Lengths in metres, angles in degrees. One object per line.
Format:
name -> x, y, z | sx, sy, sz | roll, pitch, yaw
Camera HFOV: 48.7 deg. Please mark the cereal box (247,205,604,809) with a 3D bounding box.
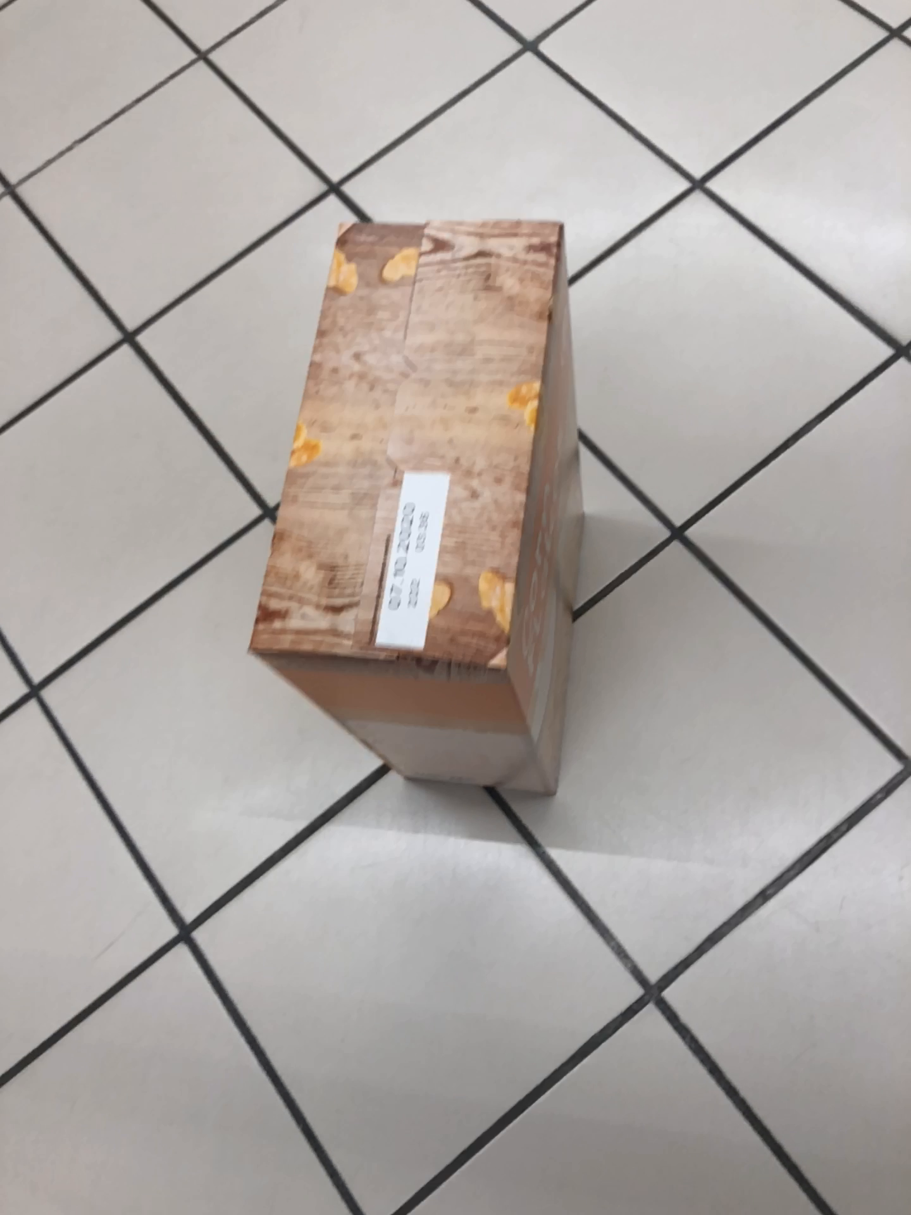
cereal box -> 0.012, -0.024, 0.512 | 0.110, 0.279, 0.200 | 3, 71, 10
